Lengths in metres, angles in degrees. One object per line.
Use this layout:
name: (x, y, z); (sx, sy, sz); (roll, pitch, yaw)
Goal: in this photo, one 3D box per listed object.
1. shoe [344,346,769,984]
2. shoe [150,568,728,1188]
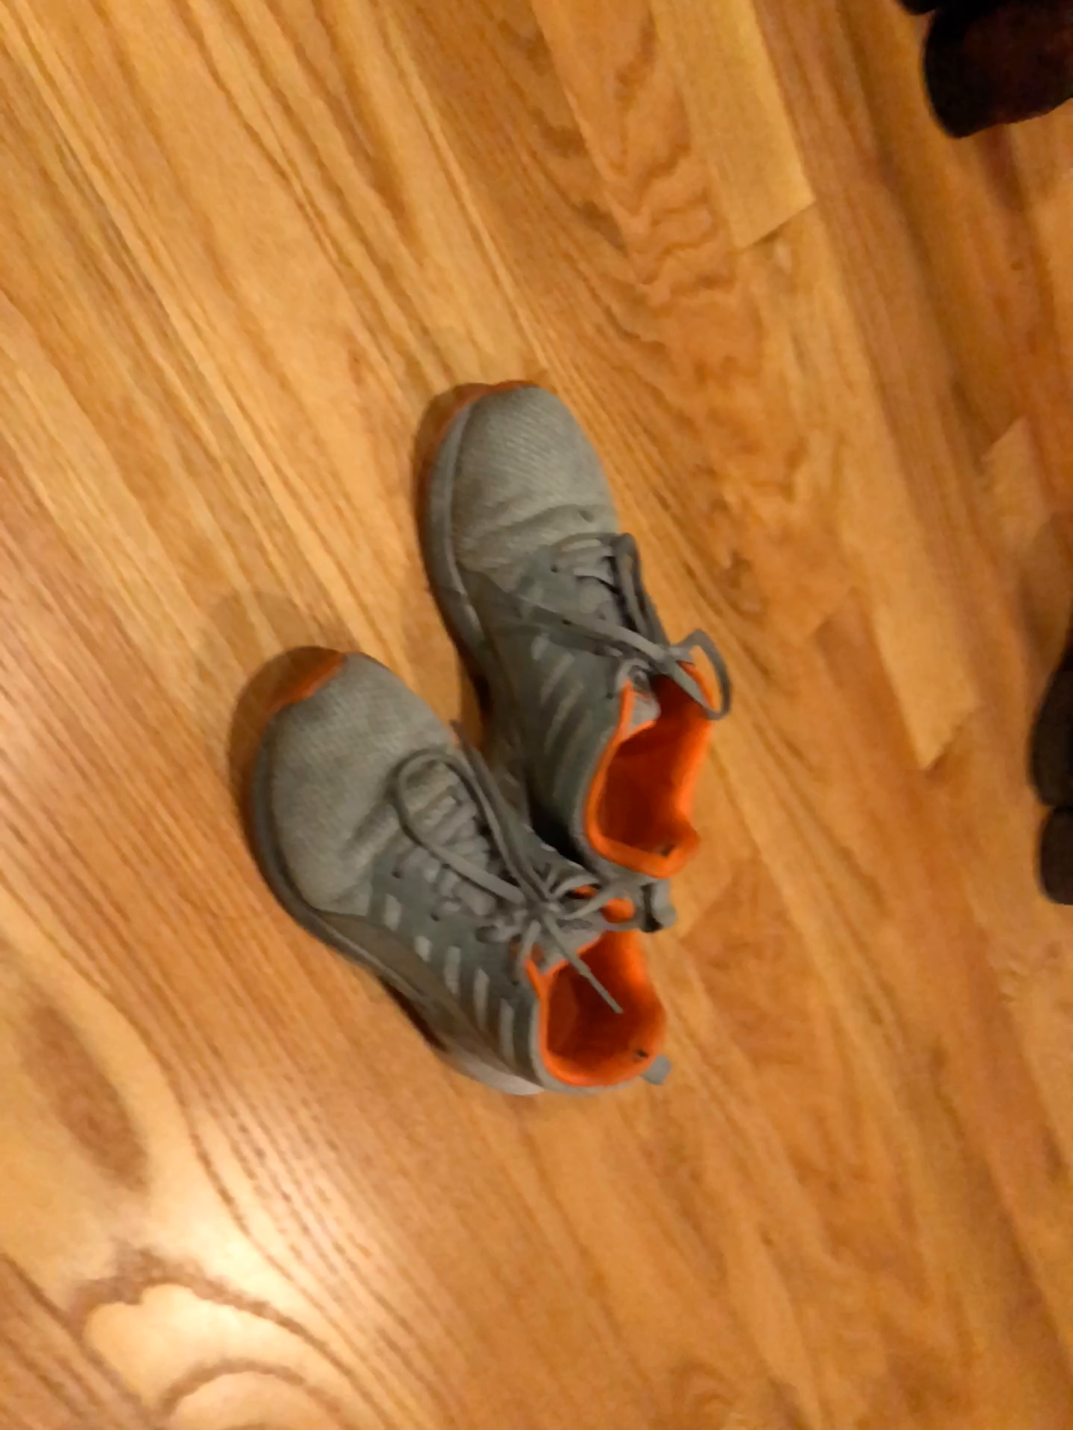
shoe: (0.013, -0.023, 0.533); (0.100, 0.100, 0.250); (-24, 108, -37)
shoe: (-0.029, 0.072, 0.504); (0.110, 0.080, 0.250); (-49, 121, -27)
